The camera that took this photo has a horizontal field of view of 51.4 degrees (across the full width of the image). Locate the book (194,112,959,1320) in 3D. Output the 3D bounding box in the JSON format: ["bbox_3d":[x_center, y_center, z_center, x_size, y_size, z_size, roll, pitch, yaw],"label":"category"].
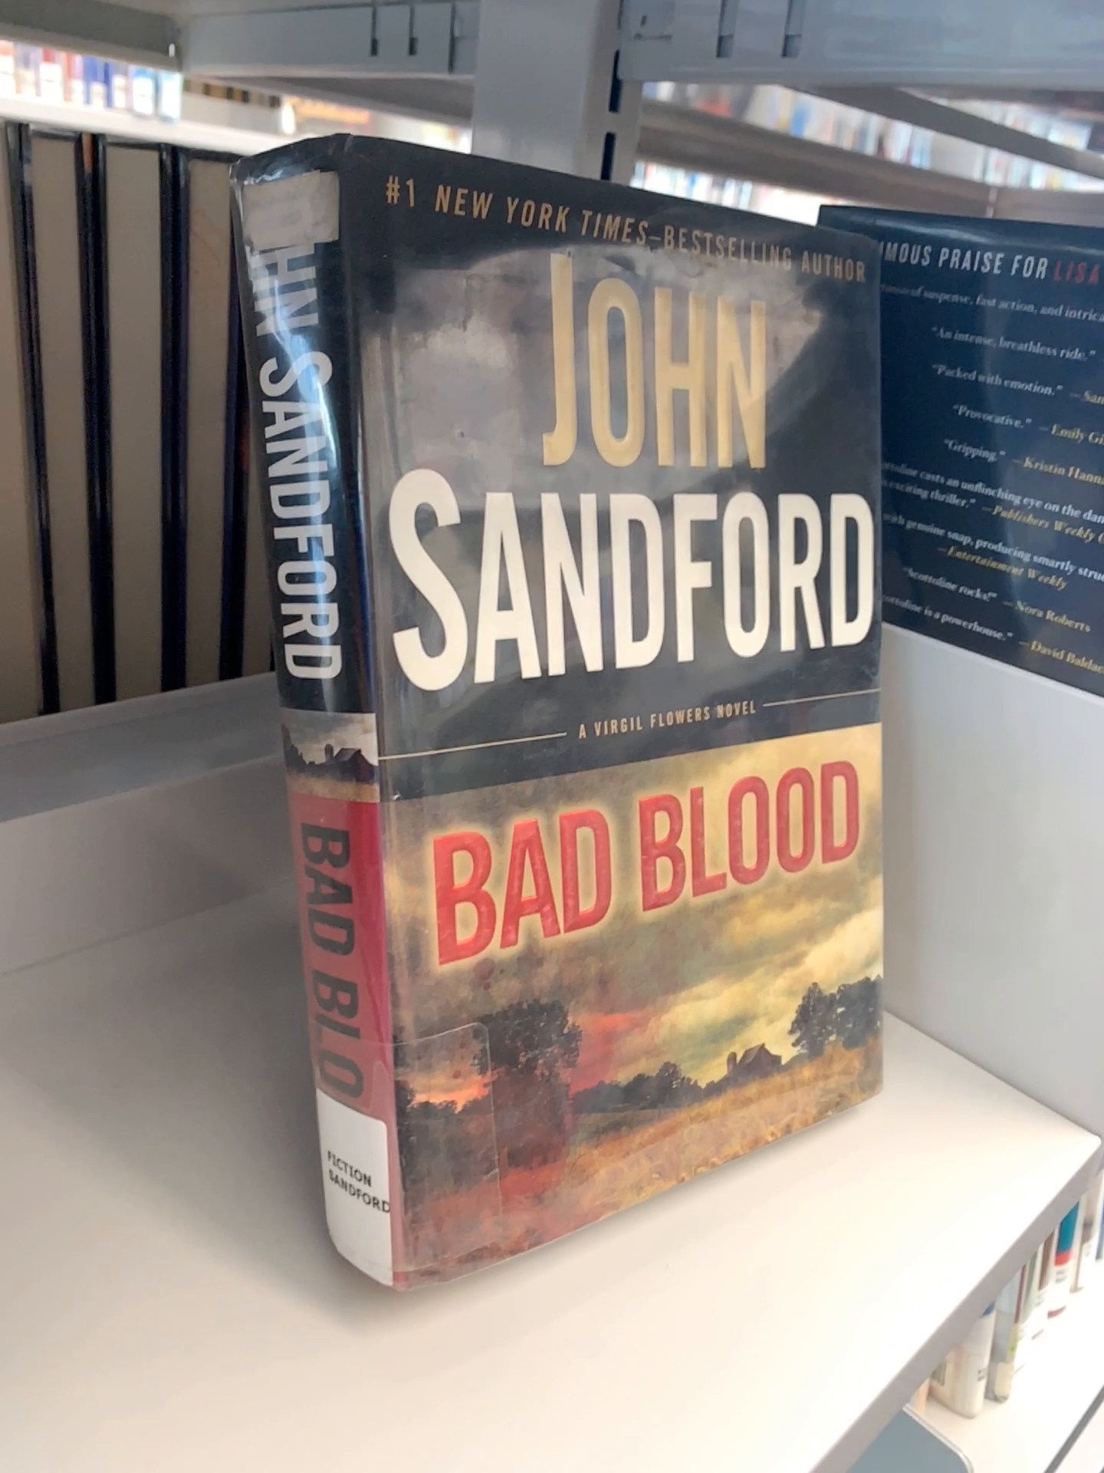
[{"bbox_3d":[0.016,-0.008,0.266,0.165,0.215,0.050,-9,13,-33],"label":"book"}]
